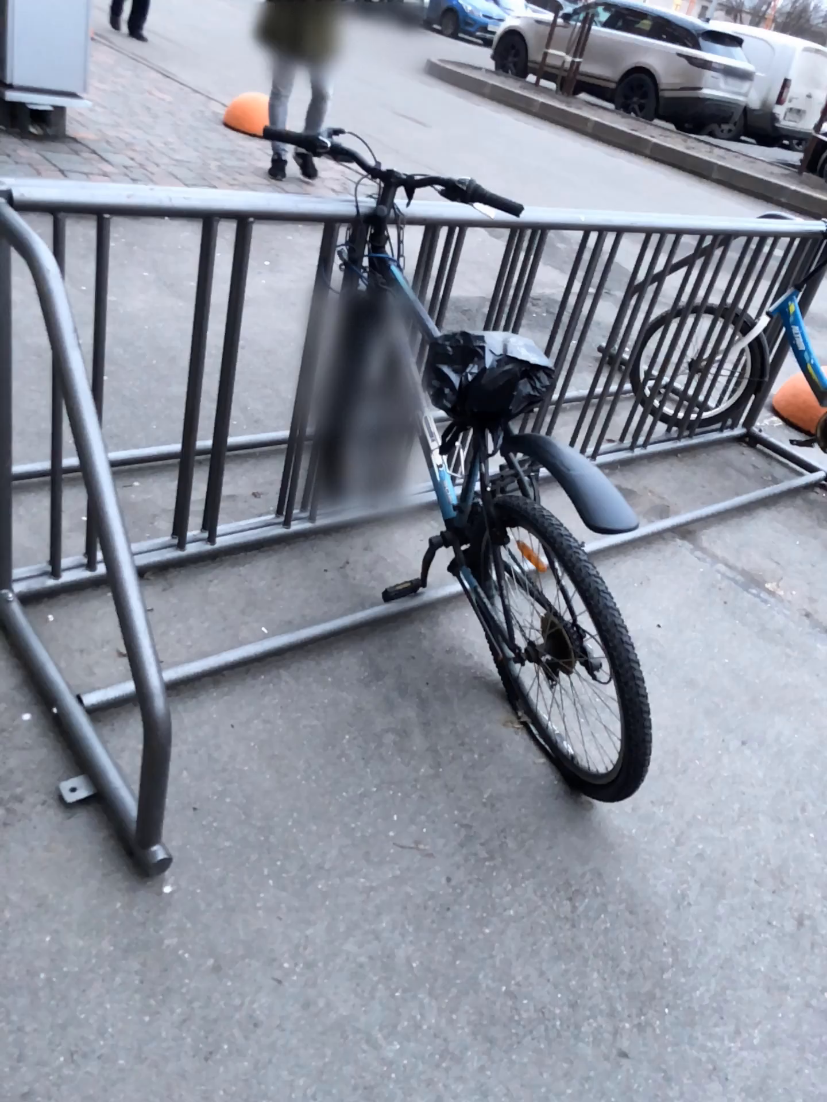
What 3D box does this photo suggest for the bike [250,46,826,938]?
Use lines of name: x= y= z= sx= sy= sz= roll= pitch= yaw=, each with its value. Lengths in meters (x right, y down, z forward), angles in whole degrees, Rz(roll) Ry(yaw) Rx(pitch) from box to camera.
bike: x=0.085 y=-0.284 z=1.988 sx=0.535 sy=1.050 sz=1.592 roll=2 pitch=37 yaw=-23
